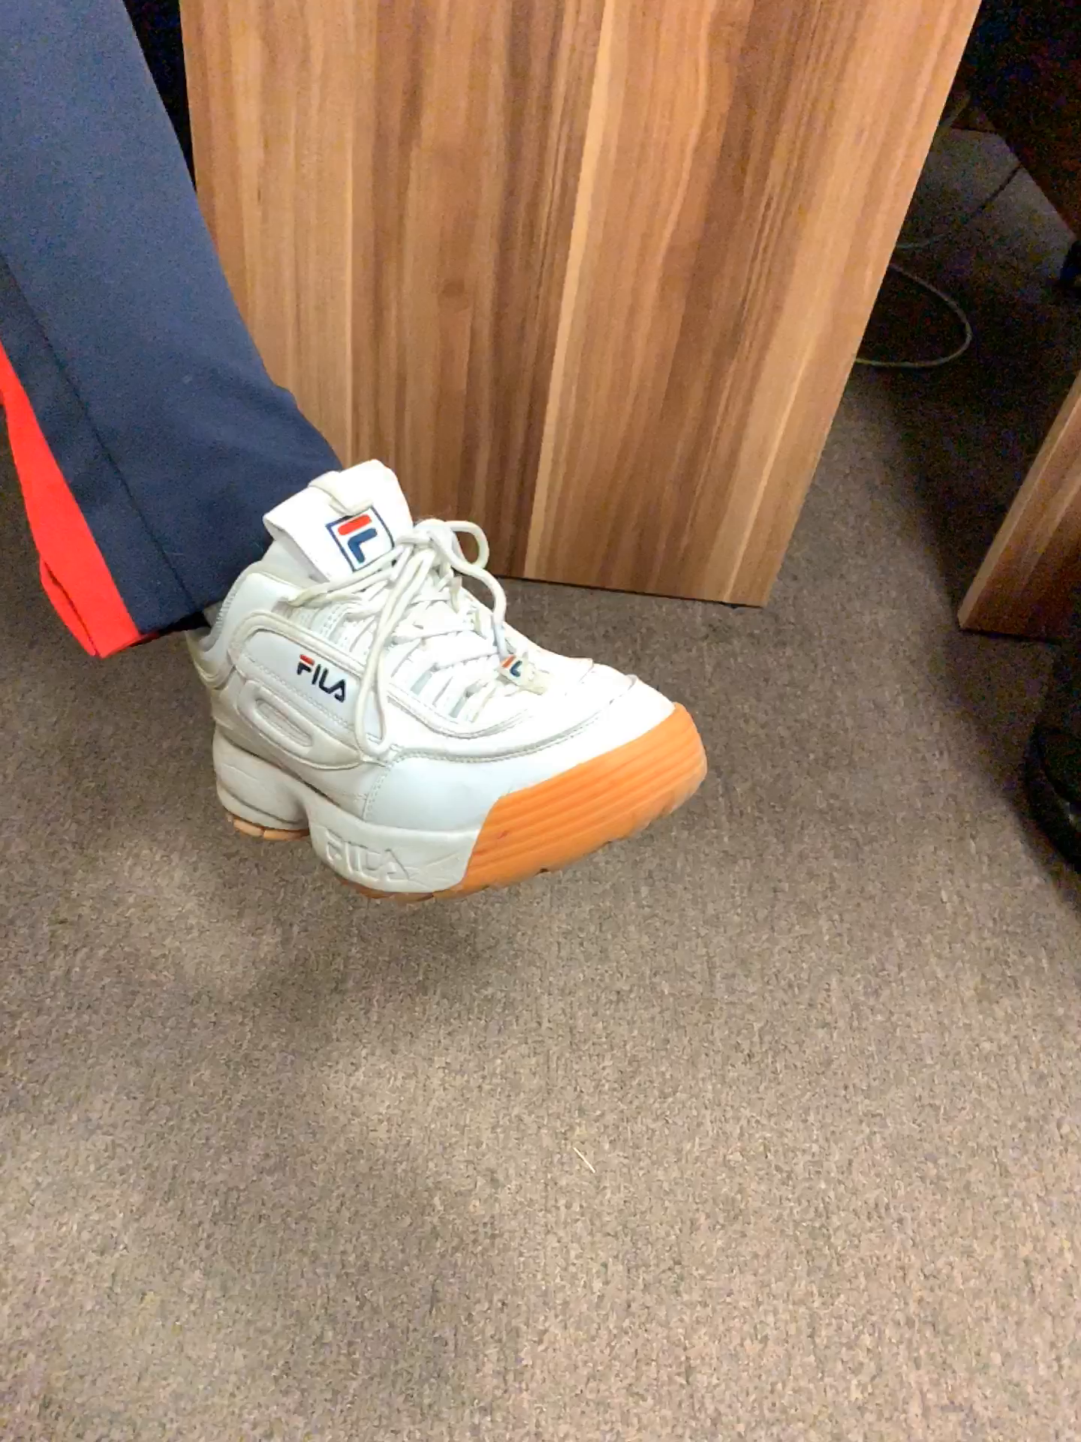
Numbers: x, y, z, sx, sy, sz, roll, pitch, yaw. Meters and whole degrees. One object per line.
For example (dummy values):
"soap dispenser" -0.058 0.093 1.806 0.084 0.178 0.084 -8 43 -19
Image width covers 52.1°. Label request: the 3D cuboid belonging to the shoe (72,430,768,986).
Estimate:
"shoe" -0.047 -0.027 0.427 0.230 0.130 0.130 17 32 39
